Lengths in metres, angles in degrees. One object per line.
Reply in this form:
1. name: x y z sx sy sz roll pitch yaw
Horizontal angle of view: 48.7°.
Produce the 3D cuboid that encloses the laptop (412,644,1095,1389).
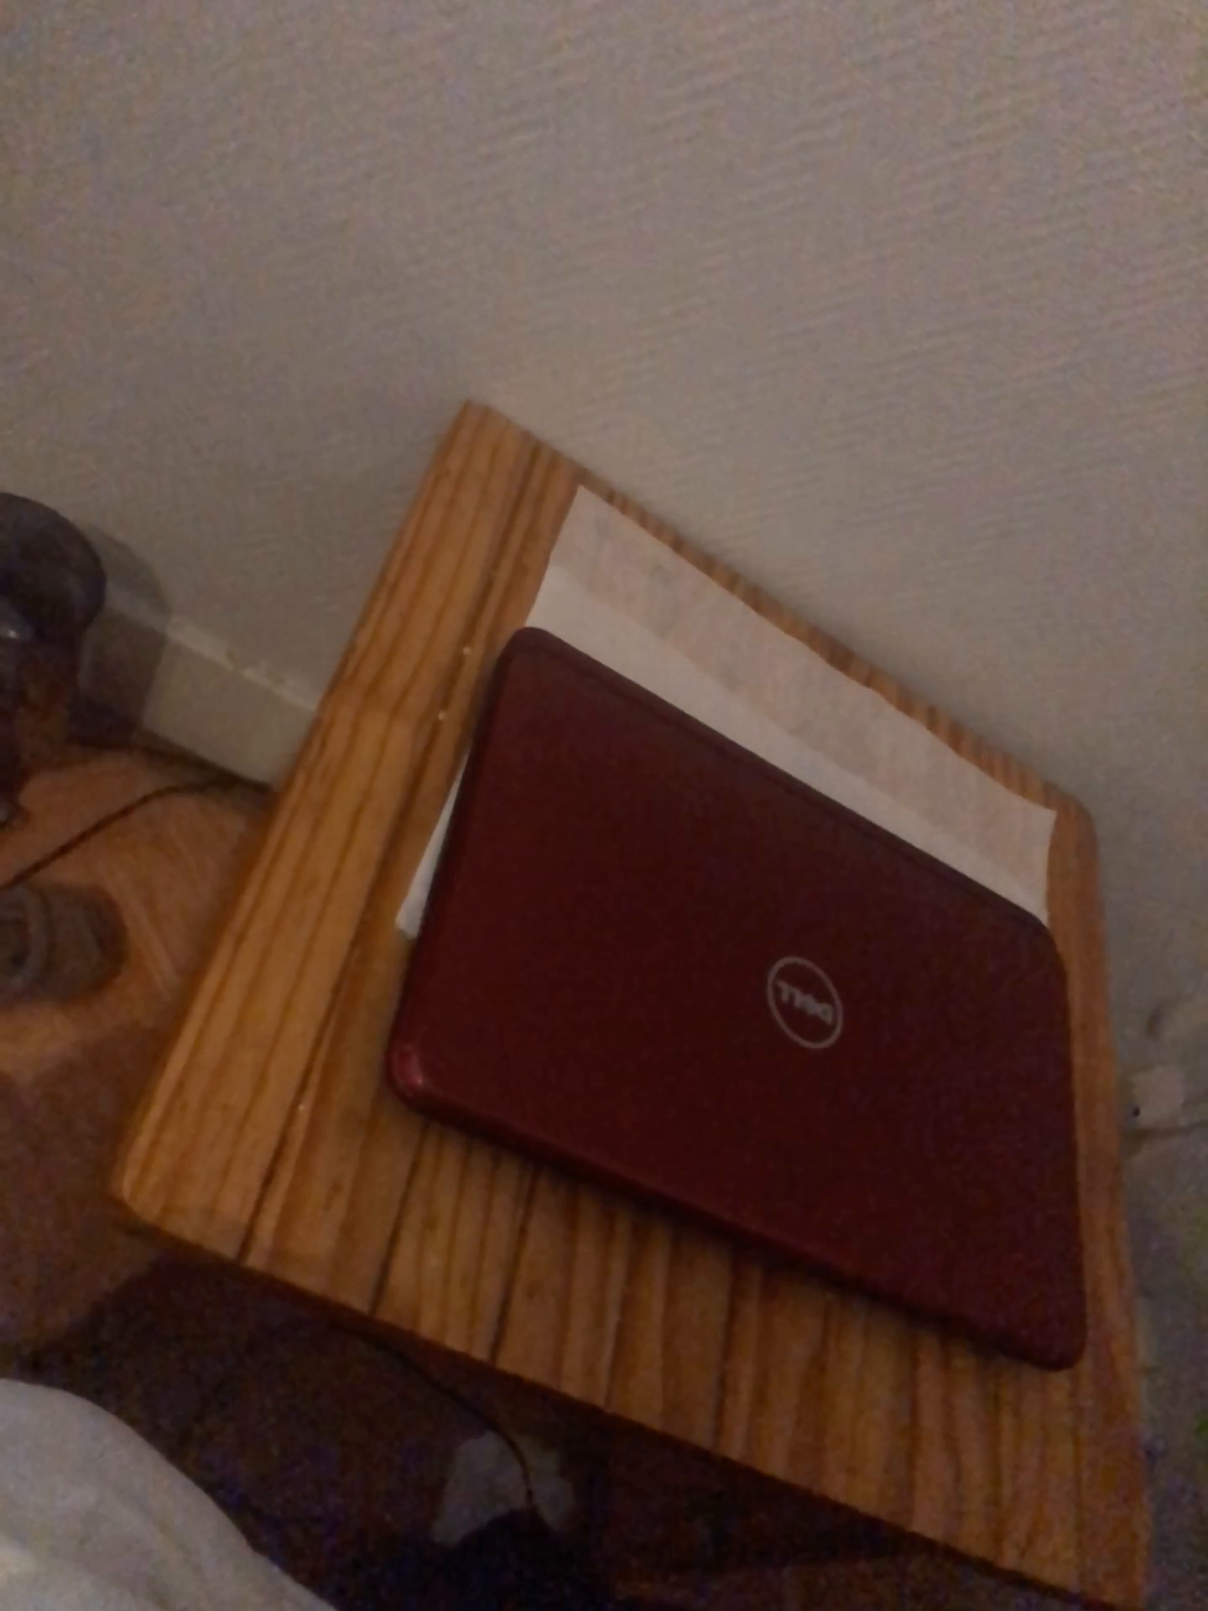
1. laptop: 0.101 0.100 0.650 0.366 0.011 0.247 29 49 -20
